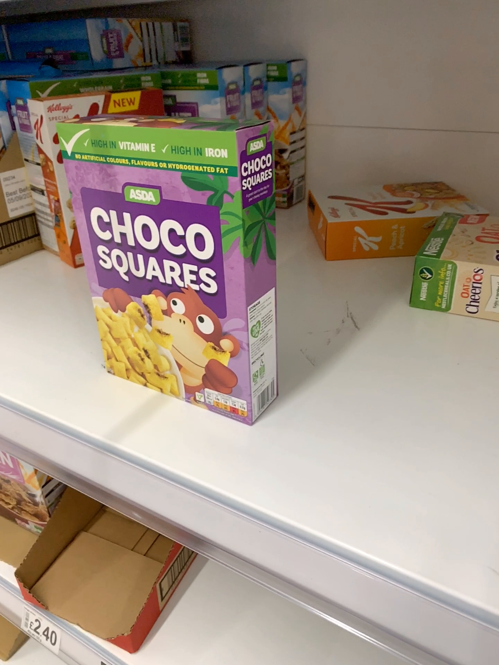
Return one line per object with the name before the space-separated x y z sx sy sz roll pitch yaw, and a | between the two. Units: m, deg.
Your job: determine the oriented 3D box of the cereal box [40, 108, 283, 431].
cereal box | -0.069 -0.059 0.455 0.190 0.248 0.060 16 34 30
